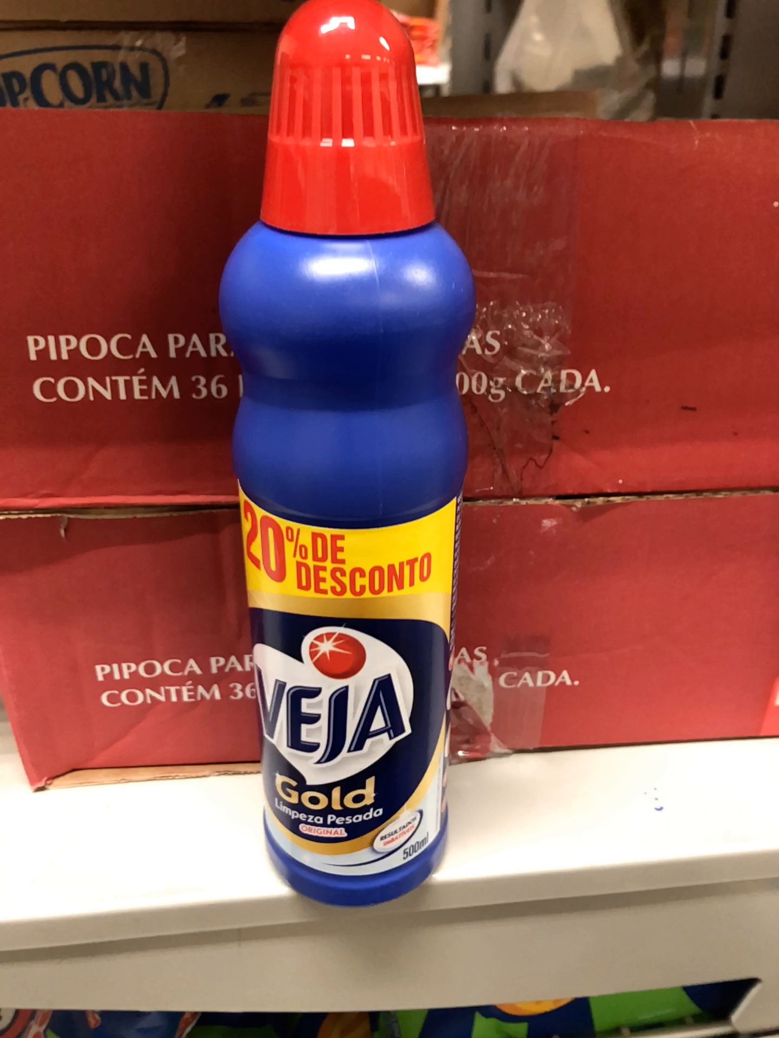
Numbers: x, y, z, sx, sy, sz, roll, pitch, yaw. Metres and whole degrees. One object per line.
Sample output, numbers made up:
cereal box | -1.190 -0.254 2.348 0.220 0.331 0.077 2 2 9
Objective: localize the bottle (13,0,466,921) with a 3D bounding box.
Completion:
bottle | -0.020 -0.006 0.239 0.070 0.248 0.070 -2 30 1
